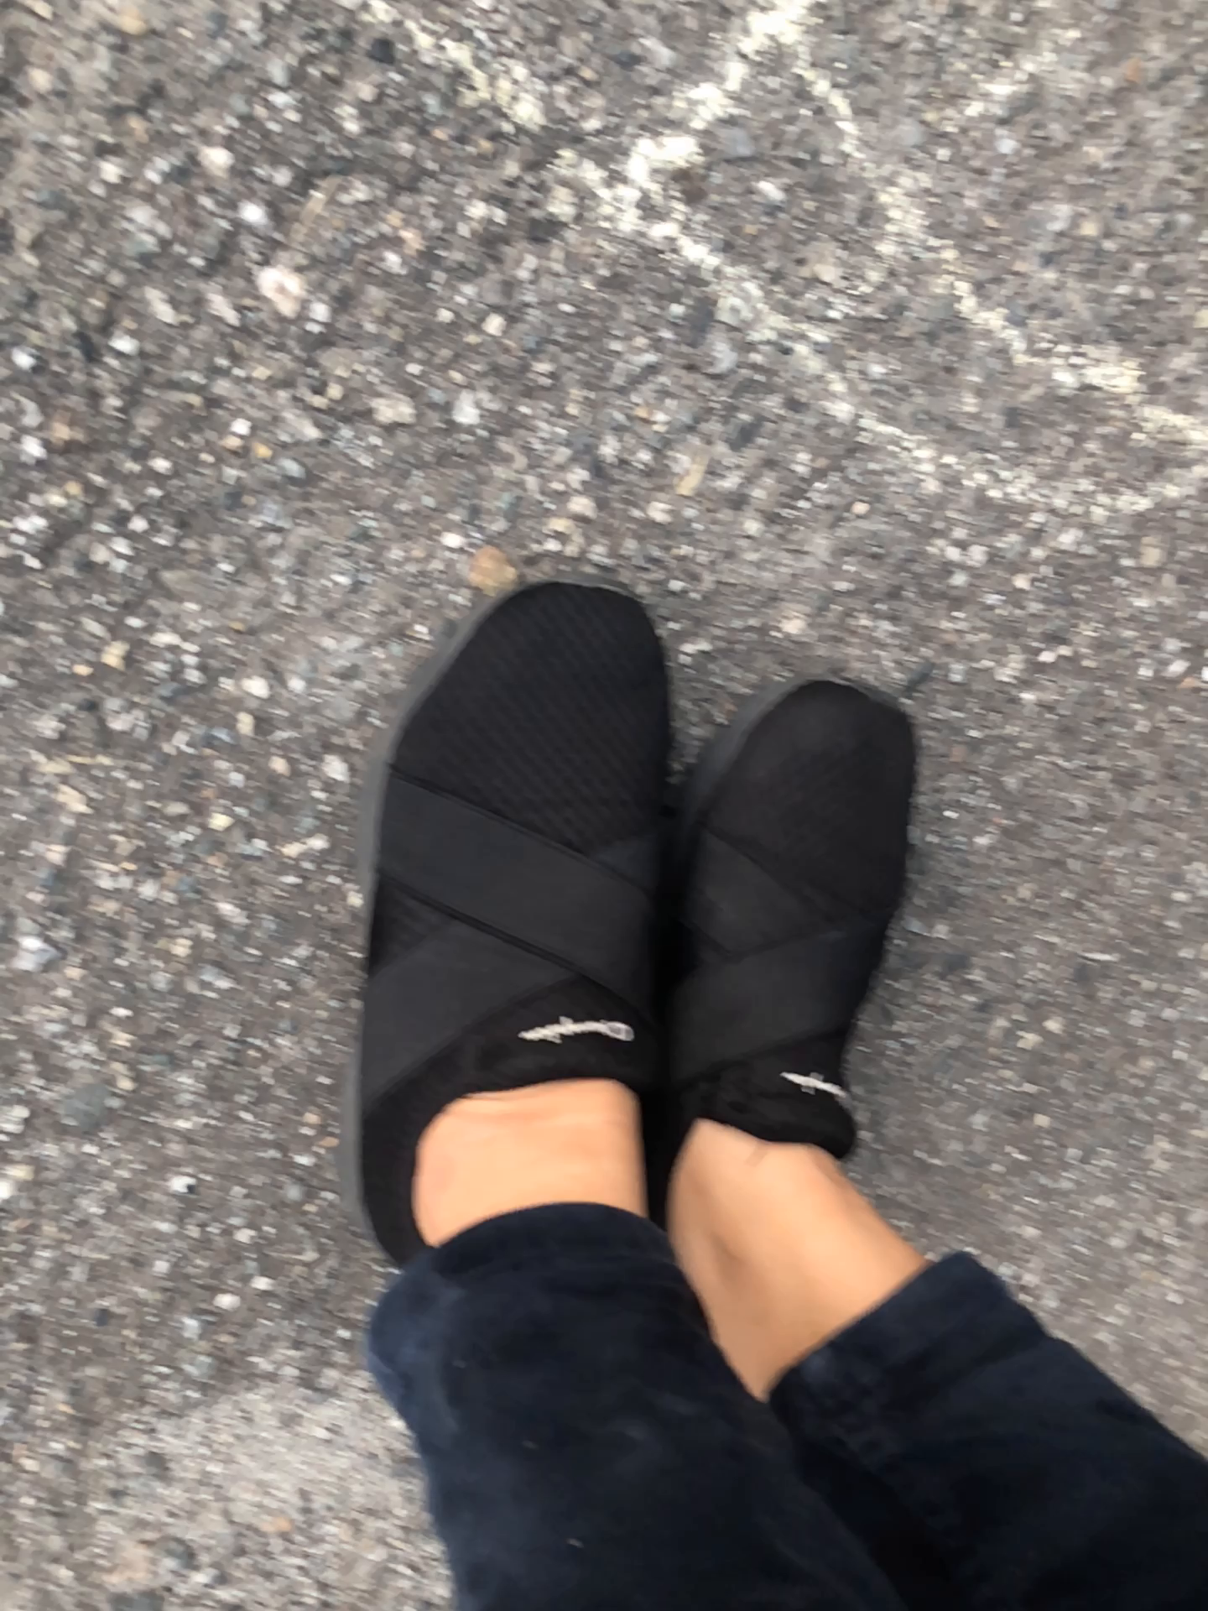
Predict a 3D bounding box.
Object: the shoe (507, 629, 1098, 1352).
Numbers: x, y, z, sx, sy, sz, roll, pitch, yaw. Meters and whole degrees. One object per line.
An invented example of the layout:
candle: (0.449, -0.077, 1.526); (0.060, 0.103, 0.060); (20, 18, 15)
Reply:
shoe: (0.063, 0.065, 0.460); (0.100, 0.080, 0.220); (18, 99, -27)

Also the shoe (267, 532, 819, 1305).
shoe: (-0.025, 0.039, 0.414); (0.100, 0.070, 0.220); (11, 103, -26)
